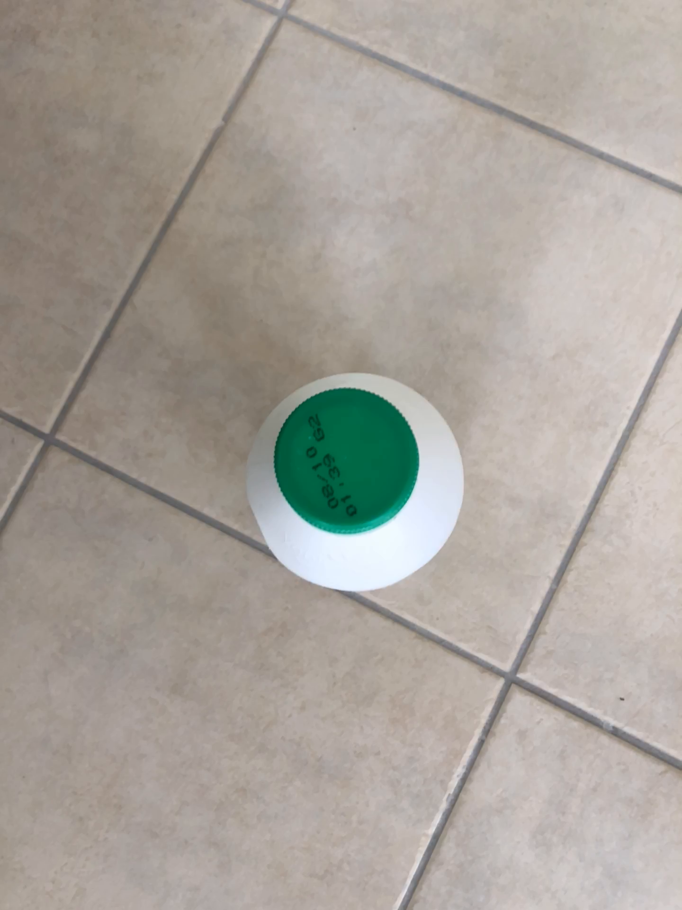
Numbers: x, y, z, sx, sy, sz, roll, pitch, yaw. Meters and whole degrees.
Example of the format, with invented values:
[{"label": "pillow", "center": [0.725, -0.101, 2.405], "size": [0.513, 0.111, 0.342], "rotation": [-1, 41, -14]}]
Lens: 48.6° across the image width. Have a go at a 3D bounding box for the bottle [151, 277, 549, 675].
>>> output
[{"label": "bottle", "center": [0.008, 0.017, 0.329], "size": [0.080, 0.230, 0.080], "rotation": [0, 83, 3]}]
